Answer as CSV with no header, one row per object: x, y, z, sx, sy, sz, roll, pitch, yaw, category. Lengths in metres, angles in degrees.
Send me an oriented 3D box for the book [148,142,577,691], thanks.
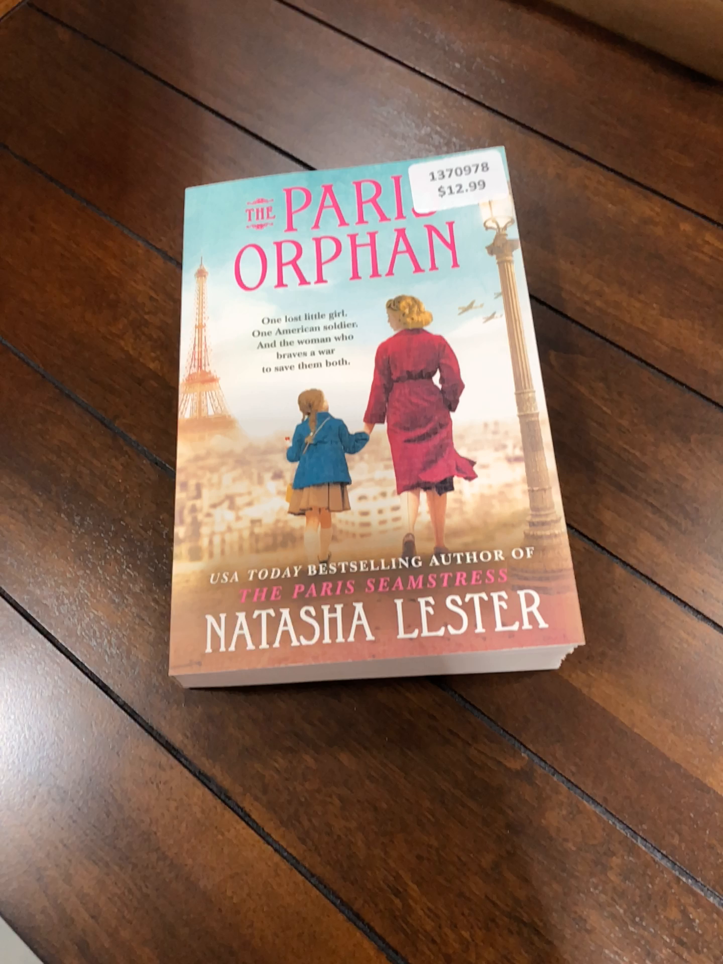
-0.004,-0.029,0.302,0.134,0.035,0.198,-4,69,5,book
